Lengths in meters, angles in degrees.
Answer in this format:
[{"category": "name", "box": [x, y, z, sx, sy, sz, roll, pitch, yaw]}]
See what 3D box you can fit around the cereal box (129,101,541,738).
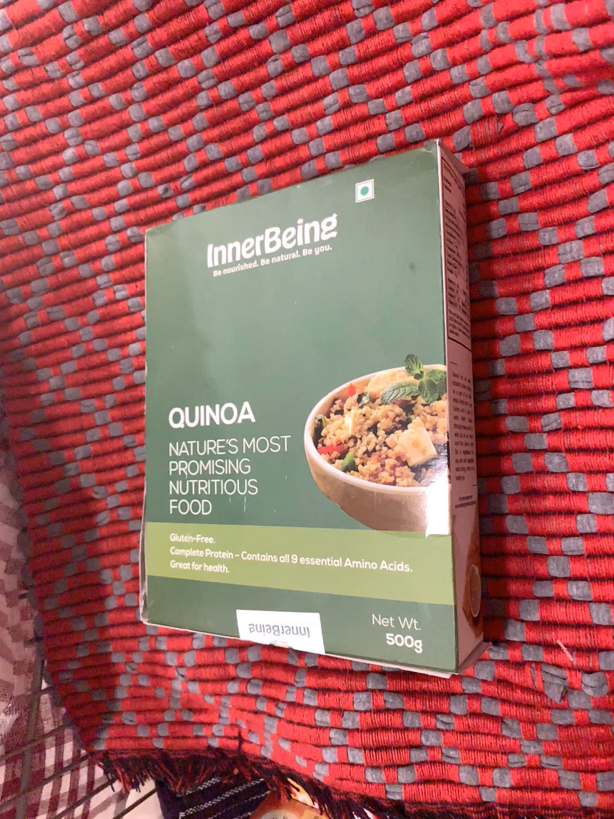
[{"category": "cereal box", "box": [0.000, 0.005, 0.239, 0.151, 0.040, 0.180, -4, 86, 35]}]
